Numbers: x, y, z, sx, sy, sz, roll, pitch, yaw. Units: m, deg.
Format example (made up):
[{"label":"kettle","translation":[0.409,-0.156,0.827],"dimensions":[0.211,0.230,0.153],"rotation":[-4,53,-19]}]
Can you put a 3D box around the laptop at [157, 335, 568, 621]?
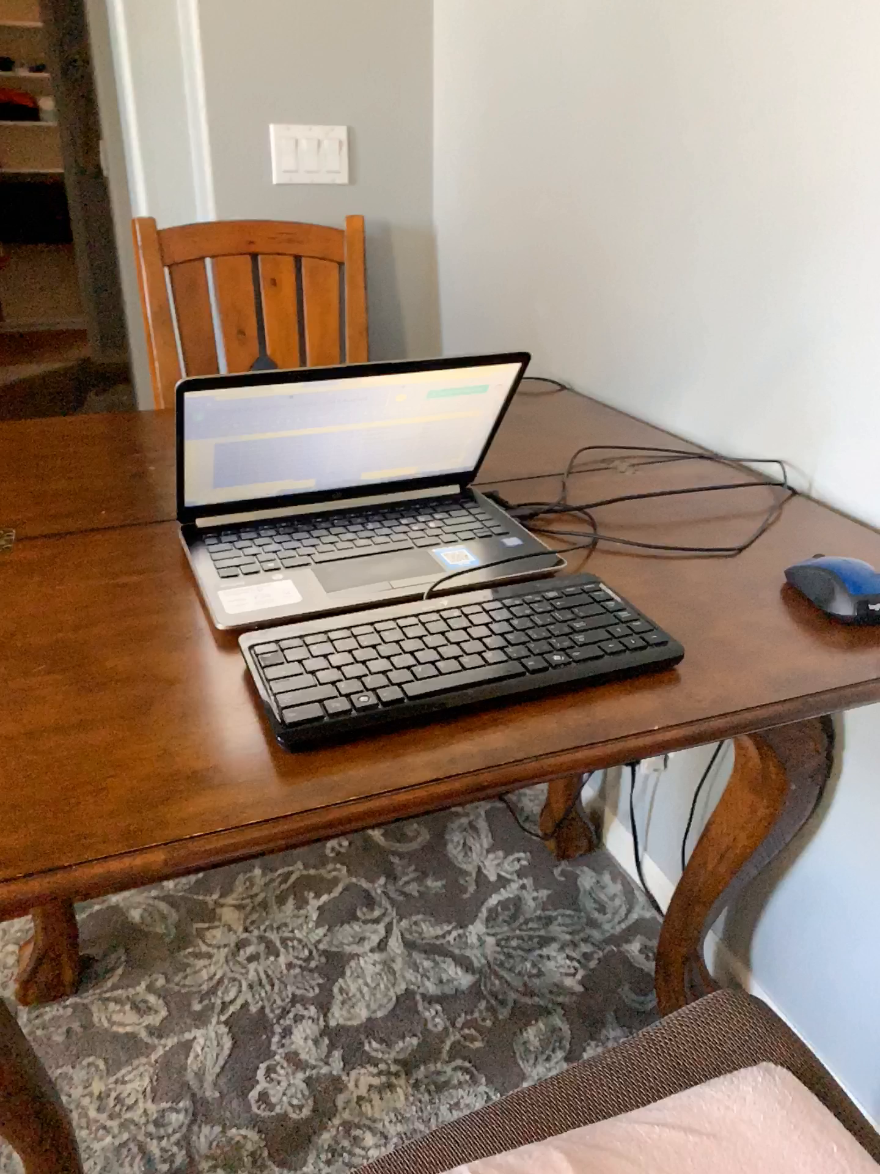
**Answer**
[{"label":"laptop","translation":[-0.073,-0.112,0.798],"dimensions":[0.303,0.157,0.200],"rotation":[-9,28,-20]}]
